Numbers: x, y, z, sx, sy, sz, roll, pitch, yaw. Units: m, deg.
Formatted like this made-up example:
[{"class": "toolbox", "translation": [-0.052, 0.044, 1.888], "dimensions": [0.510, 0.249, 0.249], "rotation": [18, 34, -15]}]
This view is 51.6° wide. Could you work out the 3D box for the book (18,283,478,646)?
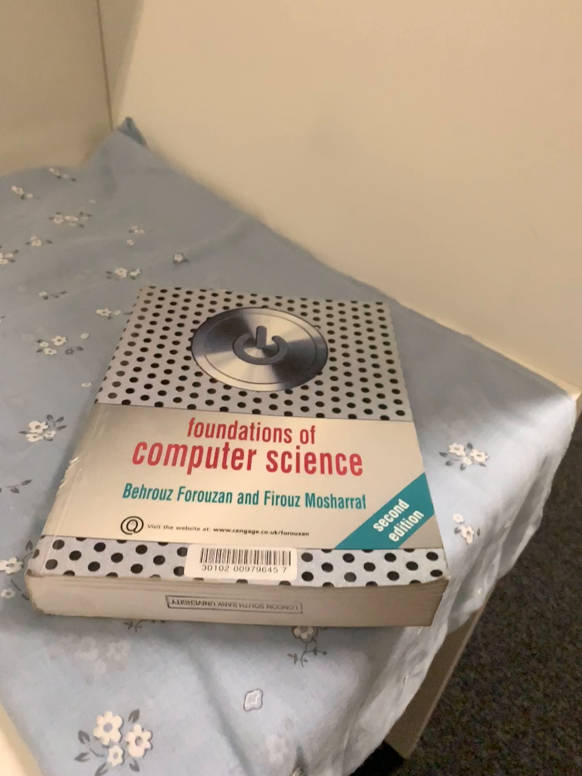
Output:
[{"class": "book", "translation": [-0.018, 0.022, 0.359], "dimensions": [0.191, 0.040, 0.248], "rotation": [3, 39, -3]}]
